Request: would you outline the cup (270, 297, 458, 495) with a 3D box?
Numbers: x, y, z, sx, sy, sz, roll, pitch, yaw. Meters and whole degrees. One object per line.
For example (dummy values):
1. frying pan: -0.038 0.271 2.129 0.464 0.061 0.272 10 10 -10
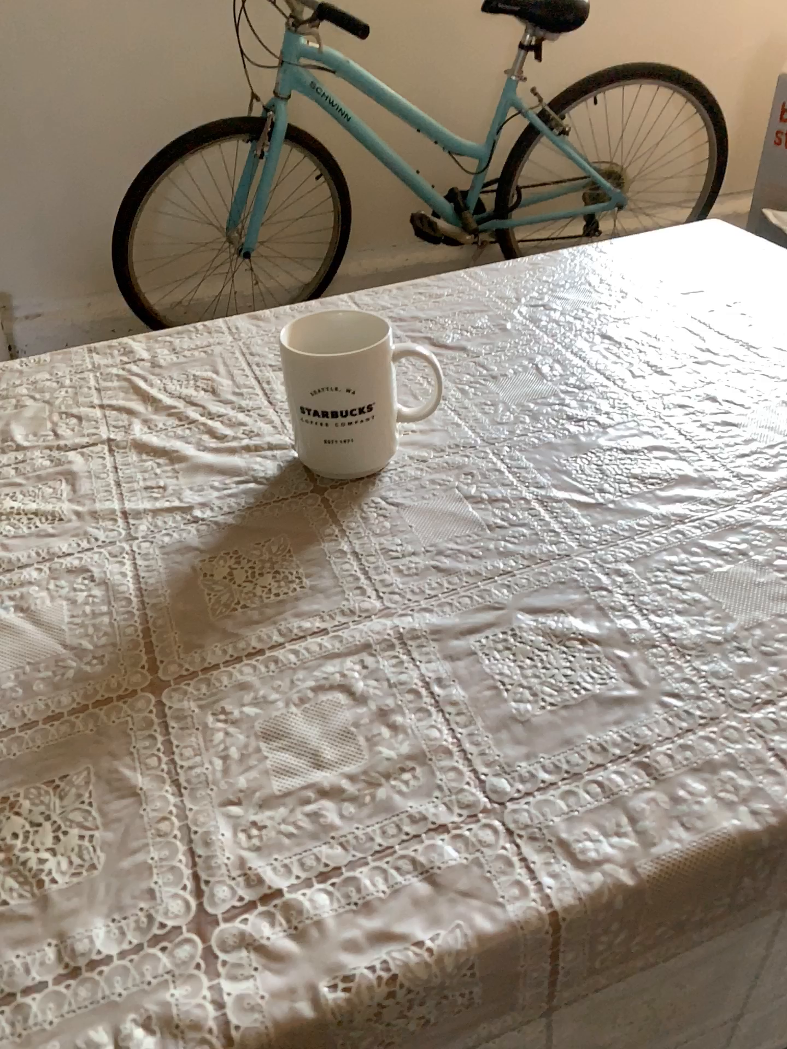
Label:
1. cup: -0.023 -0.101 0.632 0.130 0.109 0.090 -7 39 -3
